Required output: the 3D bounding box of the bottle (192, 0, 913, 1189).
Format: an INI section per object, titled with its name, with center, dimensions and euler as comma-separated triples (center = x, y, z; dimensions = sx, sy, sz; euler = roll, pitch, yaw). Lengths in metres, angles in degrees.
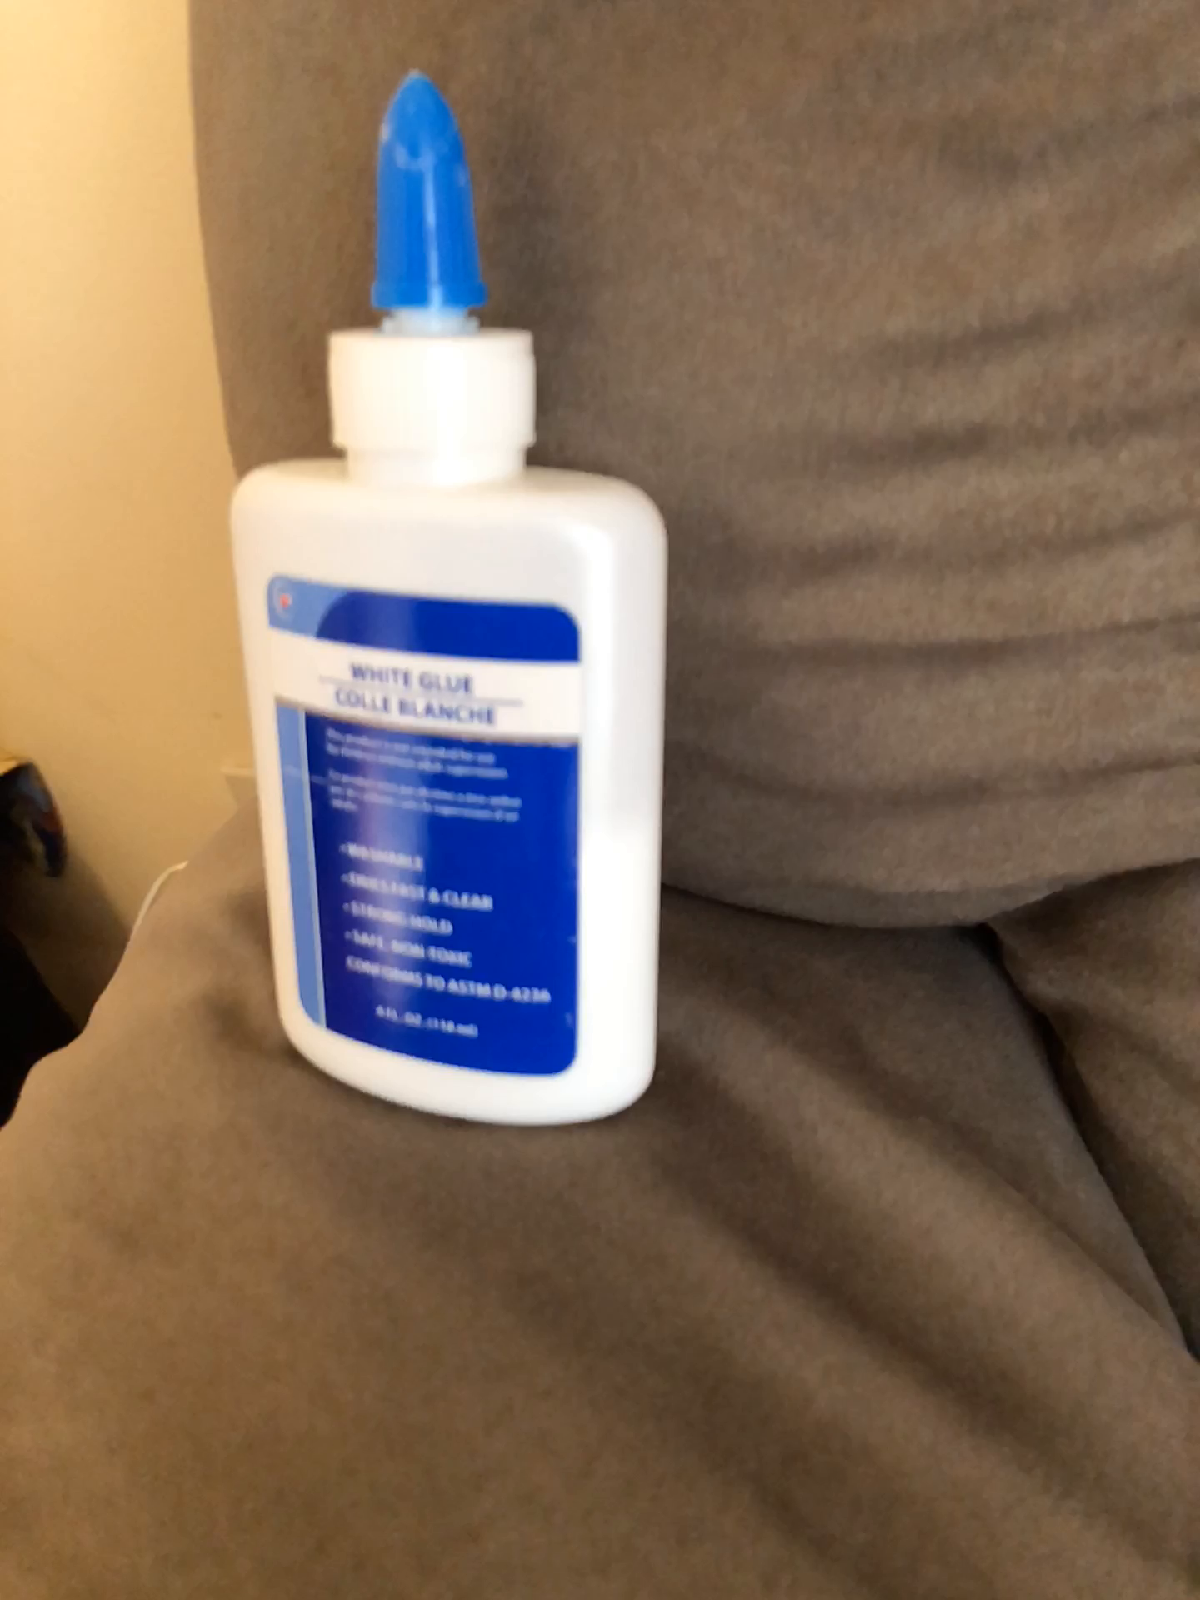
[bottle]
center = -0.006, -0.024, 0.172
dimensions = 0.070, 0.130, 0.040
euler = 11, 23, 21
